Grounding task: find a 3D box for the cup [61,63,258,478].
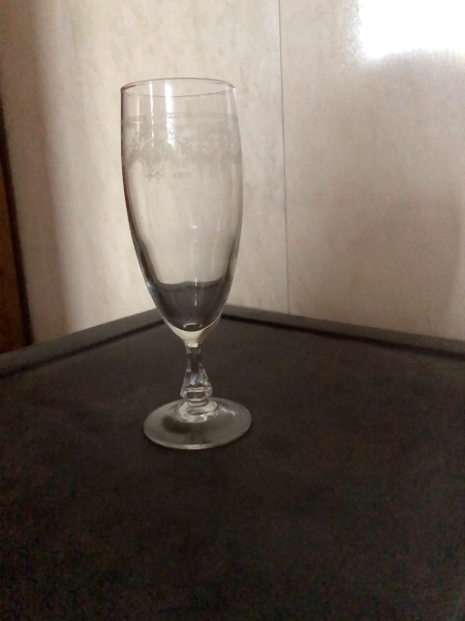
[{"bbox_3d":[-0.027,-0.016,0.246,0.060,0.169,0.060,-3,13,1],"label":"cup"}]
